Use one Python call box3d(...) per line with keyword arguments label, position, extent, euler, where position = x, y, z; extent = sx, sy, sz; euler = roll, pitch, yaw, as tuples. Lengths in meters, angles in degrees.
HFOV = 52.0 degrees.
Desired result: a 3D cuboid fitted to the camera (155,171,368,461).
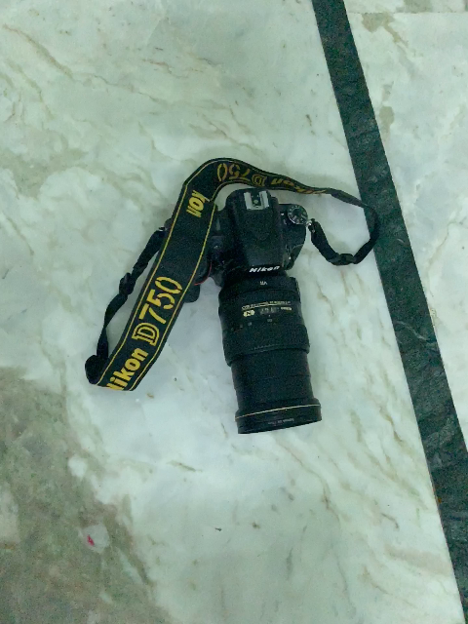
box3d(label="camera", position=(0.012, 0.005, 0.439), extent=(0.139, 0.100, 0.232), euler=(-6, 73, -8))
